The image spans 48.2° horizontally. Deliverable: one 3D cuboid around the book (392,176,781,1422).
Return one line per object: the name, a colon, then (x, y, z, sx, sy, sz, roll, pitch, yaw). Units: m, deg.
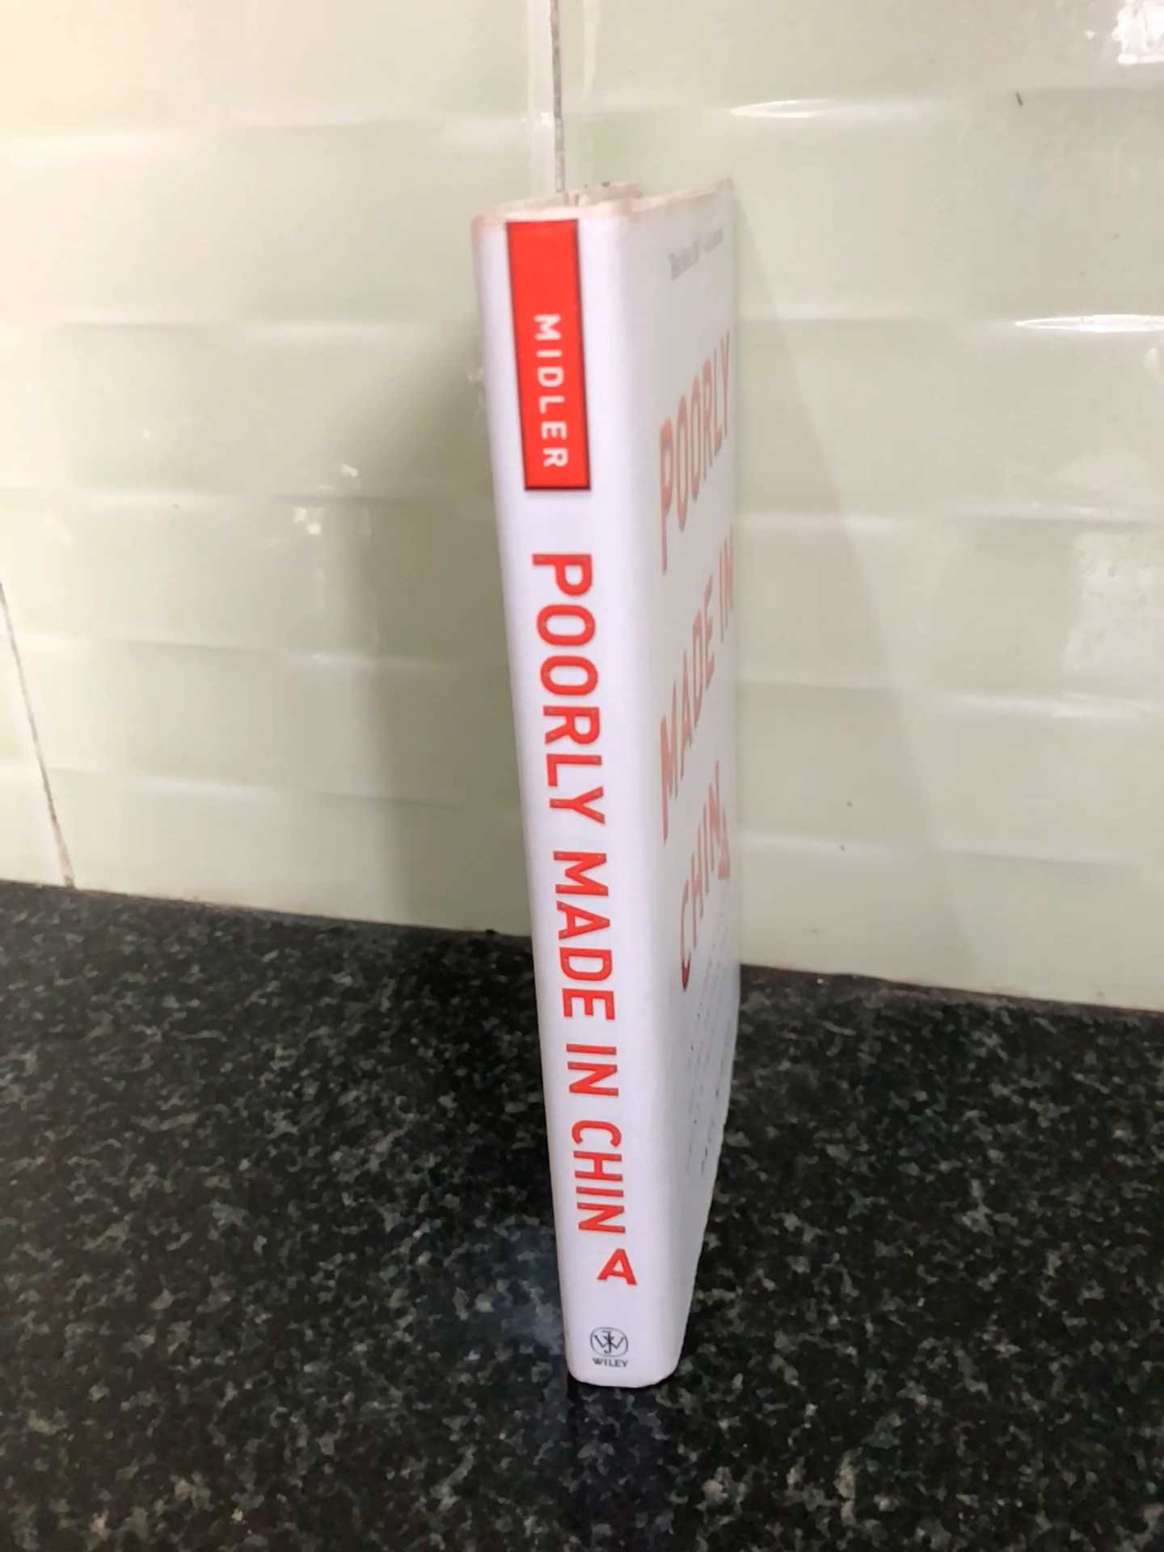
book: (0.017, -0.014, 0.297, 0.040, 0.219, 0.191, 3, 26, 11)
